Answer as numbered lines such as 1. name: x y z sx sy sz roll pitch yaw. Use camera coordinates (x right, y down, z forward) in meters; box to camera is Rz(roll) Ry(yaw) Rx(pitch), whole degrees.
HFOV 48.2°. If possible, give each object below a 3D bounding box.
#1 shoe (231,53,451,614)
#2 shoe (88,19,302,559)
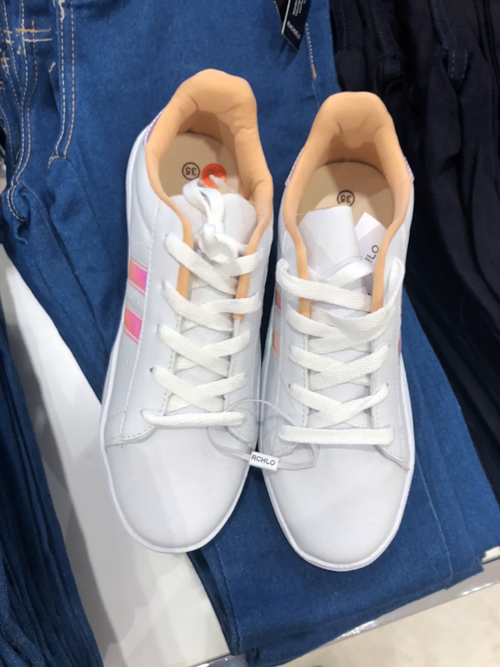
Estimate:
1. shoe: 0.046 -0.003 0.311 0.090 0.110 0.260 1 78 4
2. shoe: -0.033 -0.020 0.322 0.090 0.110 0.260 5 78 -14
